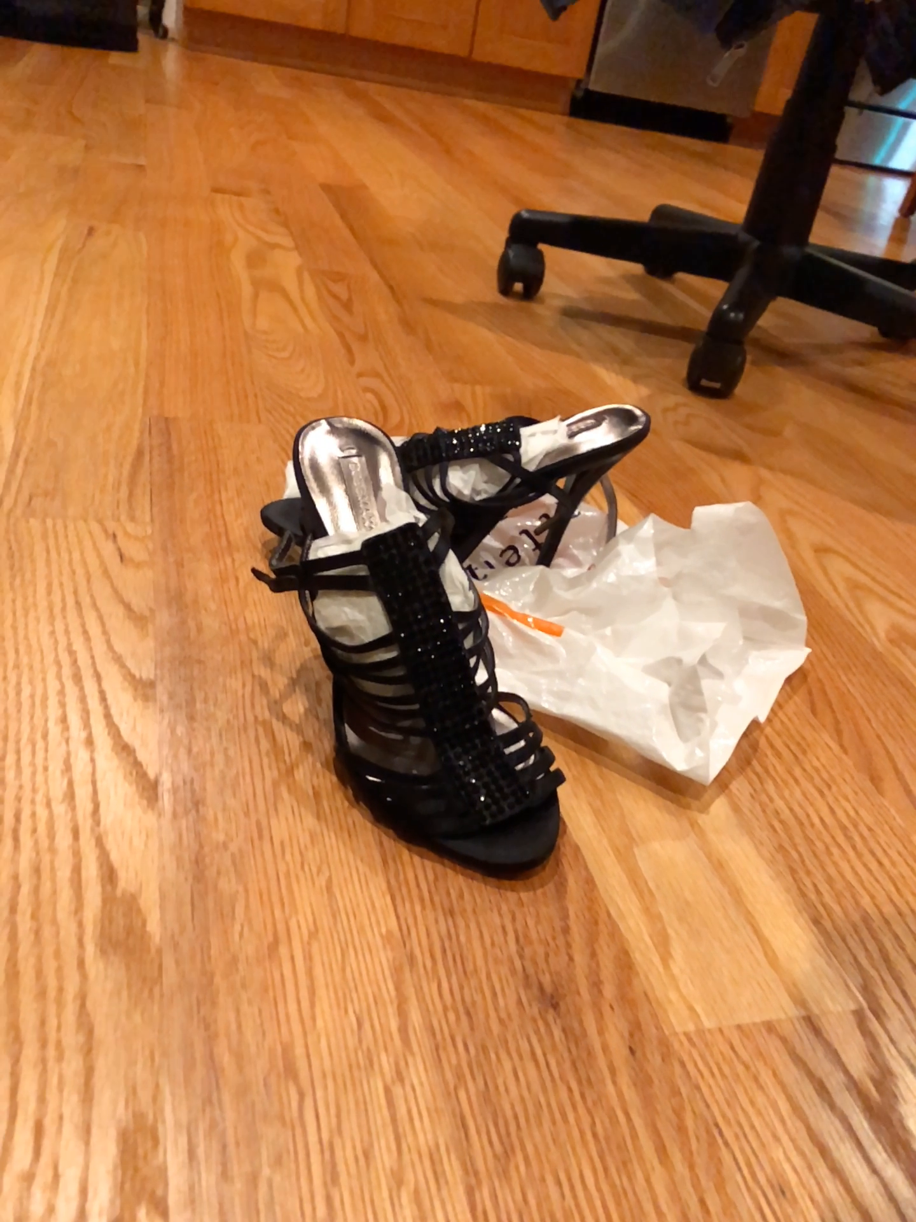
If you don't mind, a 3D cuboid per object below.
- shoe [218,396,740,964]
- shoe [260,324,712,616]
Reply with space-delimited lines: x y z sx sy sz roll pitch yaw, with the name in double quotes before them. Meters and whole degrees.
"shoe" -0.012 0.008 0.411 0.090 0.112 0.218 -11 37 -32
"shoe" 0.006 -0.075 0.552 0.217 0.112 0.092 3 31 -13
